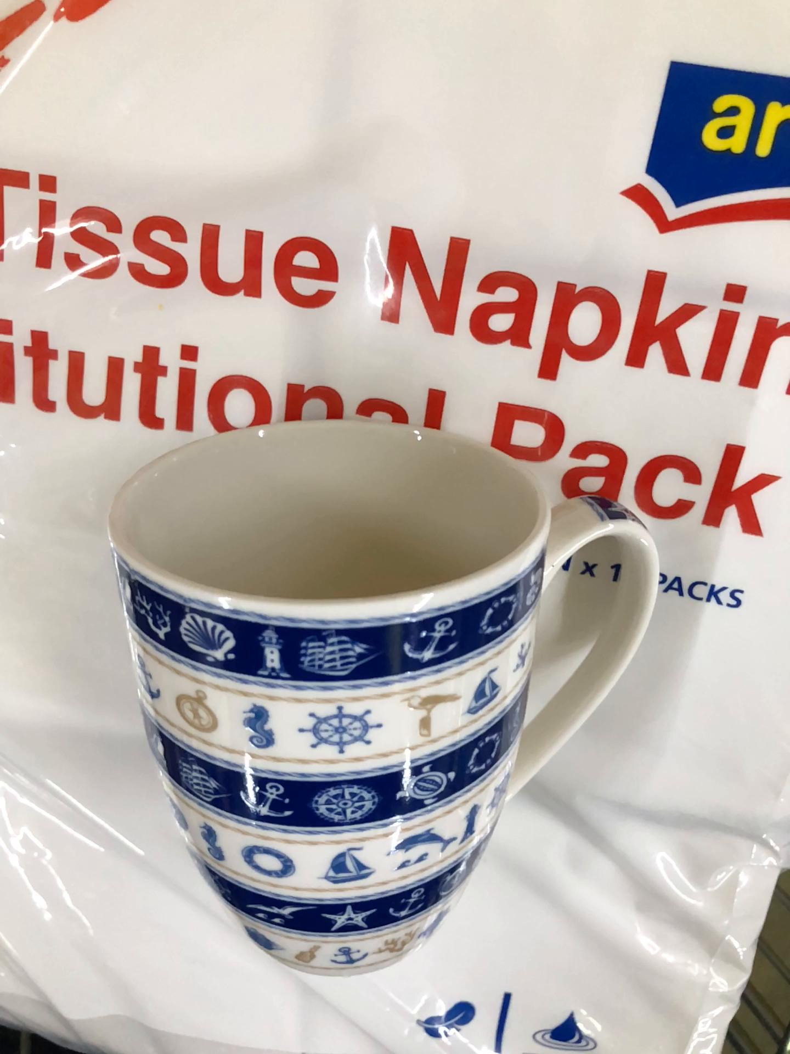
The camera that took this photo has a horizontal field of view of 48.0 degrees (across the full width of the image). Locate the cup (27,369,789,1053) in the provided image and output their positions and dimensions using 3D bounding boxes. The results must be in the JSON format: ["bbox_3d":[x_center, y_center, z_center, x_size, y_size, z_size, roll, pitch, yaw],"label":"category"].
[{"bbox_3d":[0.003,0.039,0.191,0.120,0.080,0.110,-19,124,-30],"label":"cup"}]
